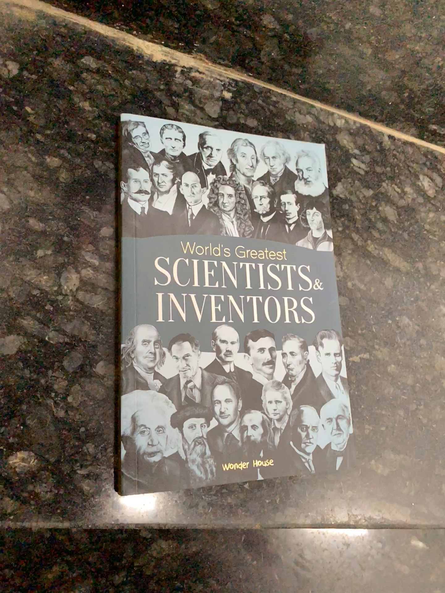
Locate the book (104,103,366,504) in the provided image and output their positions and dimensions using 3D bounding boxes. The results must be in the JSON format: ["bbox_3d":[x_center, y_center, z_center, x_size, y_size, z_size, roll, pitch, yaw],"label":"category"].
[{"bbox_3d":[0.006,-0.002,0.261,0.140,0.020,0.200,2,77,-22],"label":"book"}]
